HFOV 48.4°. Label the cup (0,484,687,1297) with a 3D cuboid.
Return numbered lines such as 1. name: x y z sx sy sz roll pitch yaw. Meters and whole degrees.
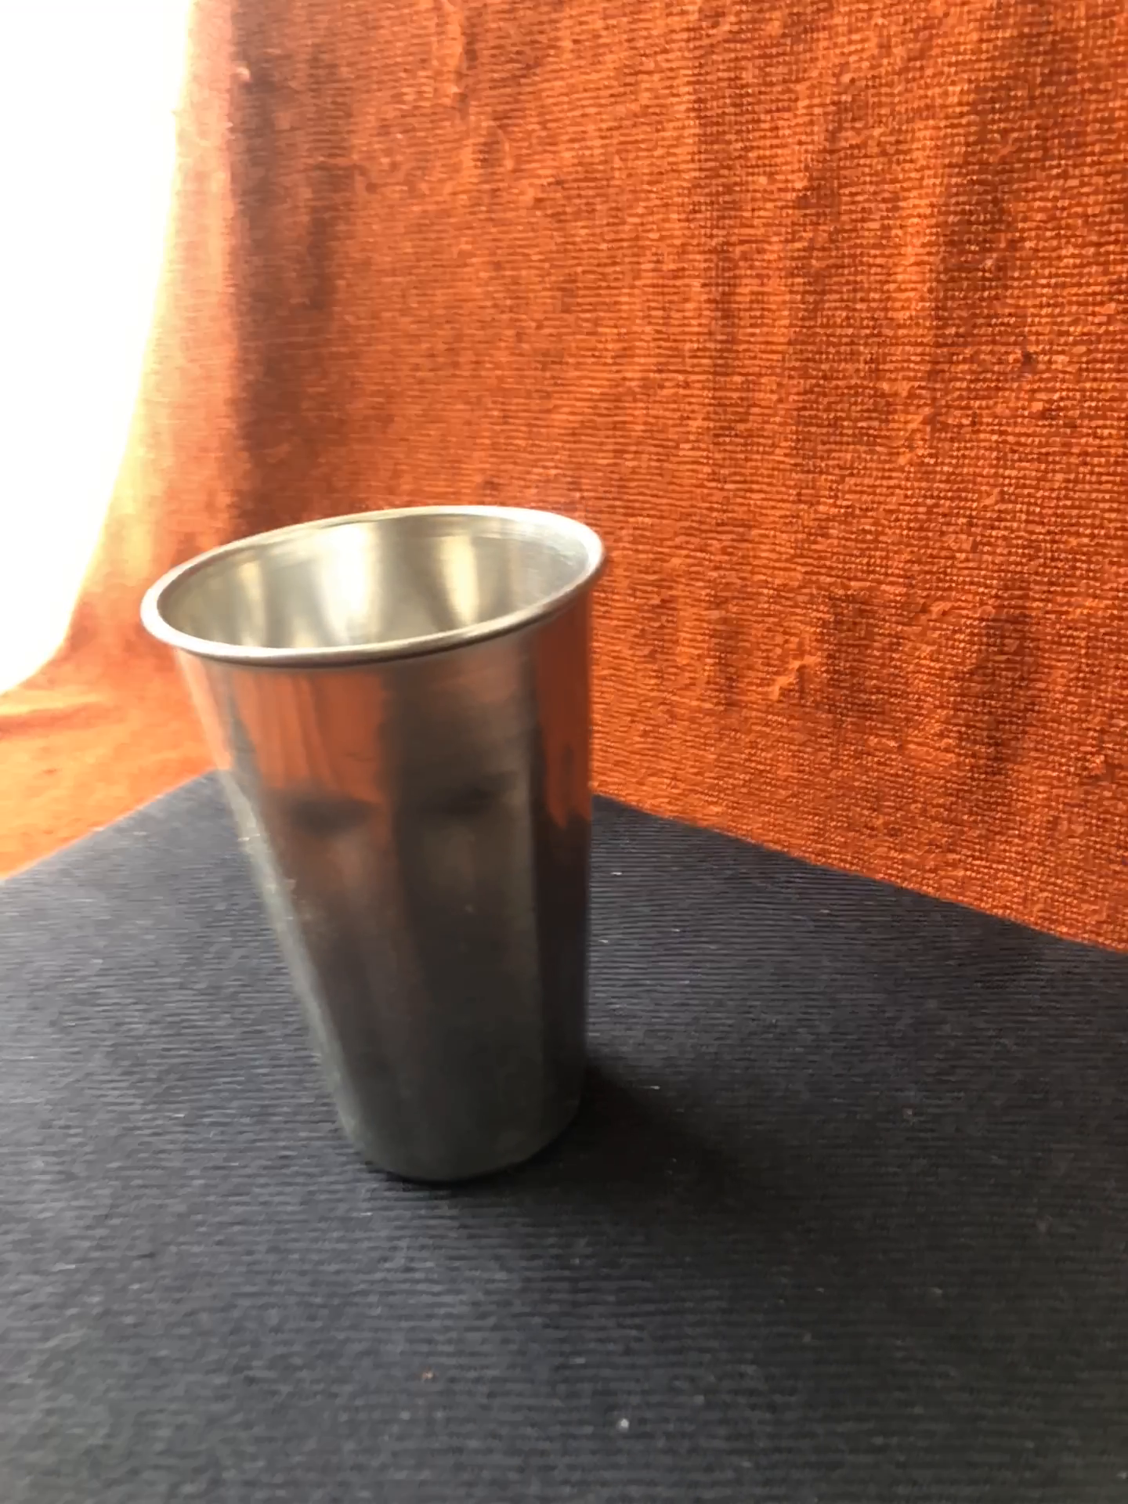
1. cup: -0.030 0.016 0.211 0.070 0.100 0.070 -4 25 2
